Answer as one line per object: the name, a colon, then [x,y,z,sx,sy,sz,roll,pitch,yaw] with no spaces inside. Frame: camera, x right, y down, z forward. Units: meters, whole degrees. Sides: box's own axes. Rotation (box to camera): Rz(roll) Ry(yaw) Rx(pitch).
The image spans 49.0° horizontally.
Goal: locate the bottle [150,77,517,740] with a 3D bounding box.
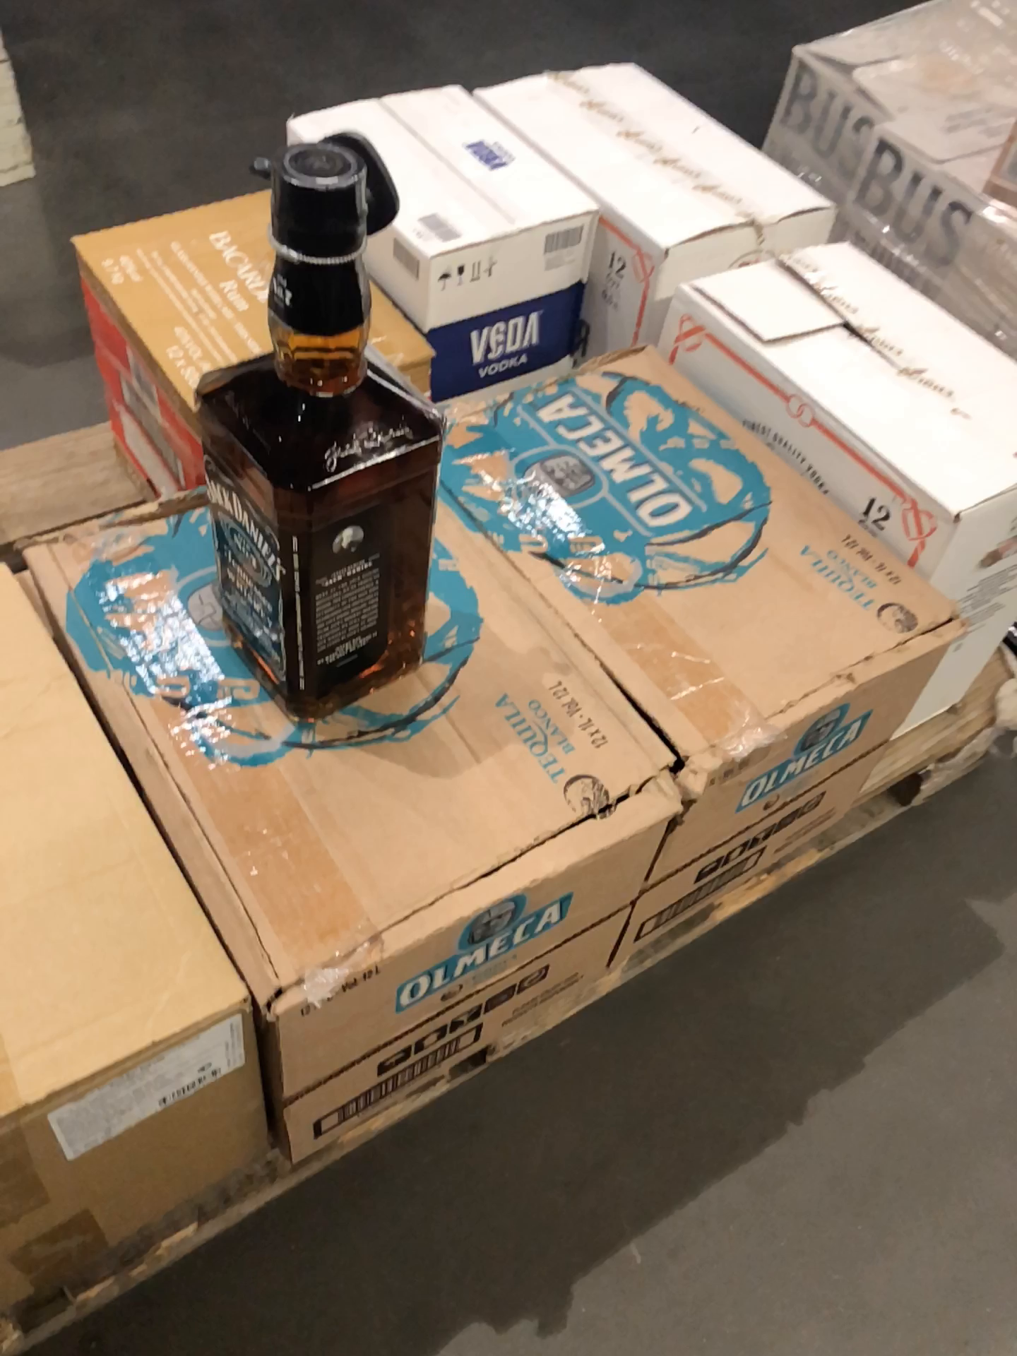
bottle: [-0.090,-0.121,0.581,0.110,0.308,0.110,4,50,-5]
